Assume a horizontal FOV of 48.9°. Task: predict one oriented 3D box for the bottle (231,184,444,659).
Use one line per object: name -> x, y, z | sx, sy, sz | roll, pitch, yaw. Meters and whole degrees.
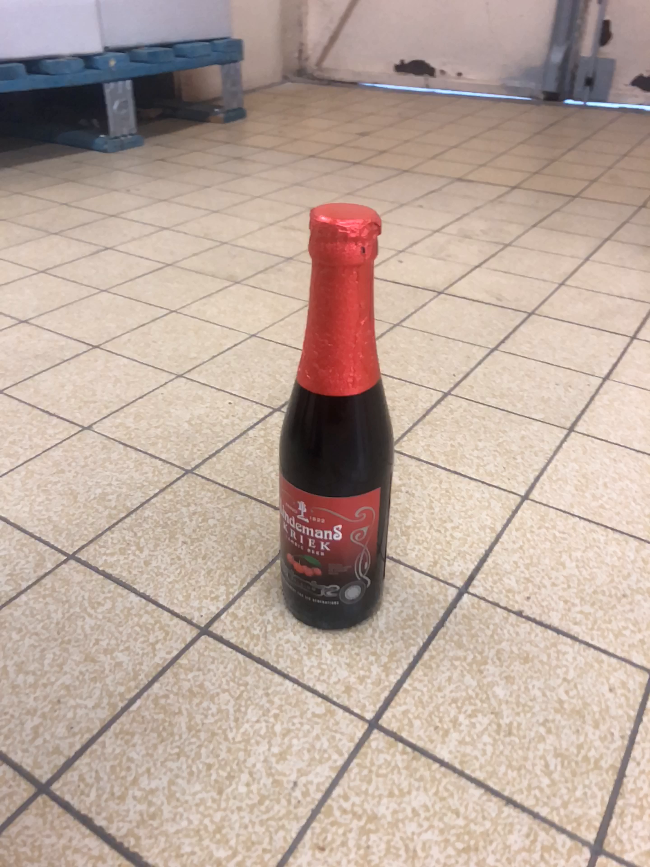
bottle -> 0.005, 0.000, 0.321 | 0.060, 0.199, 0.060 | 1, 31, -1
